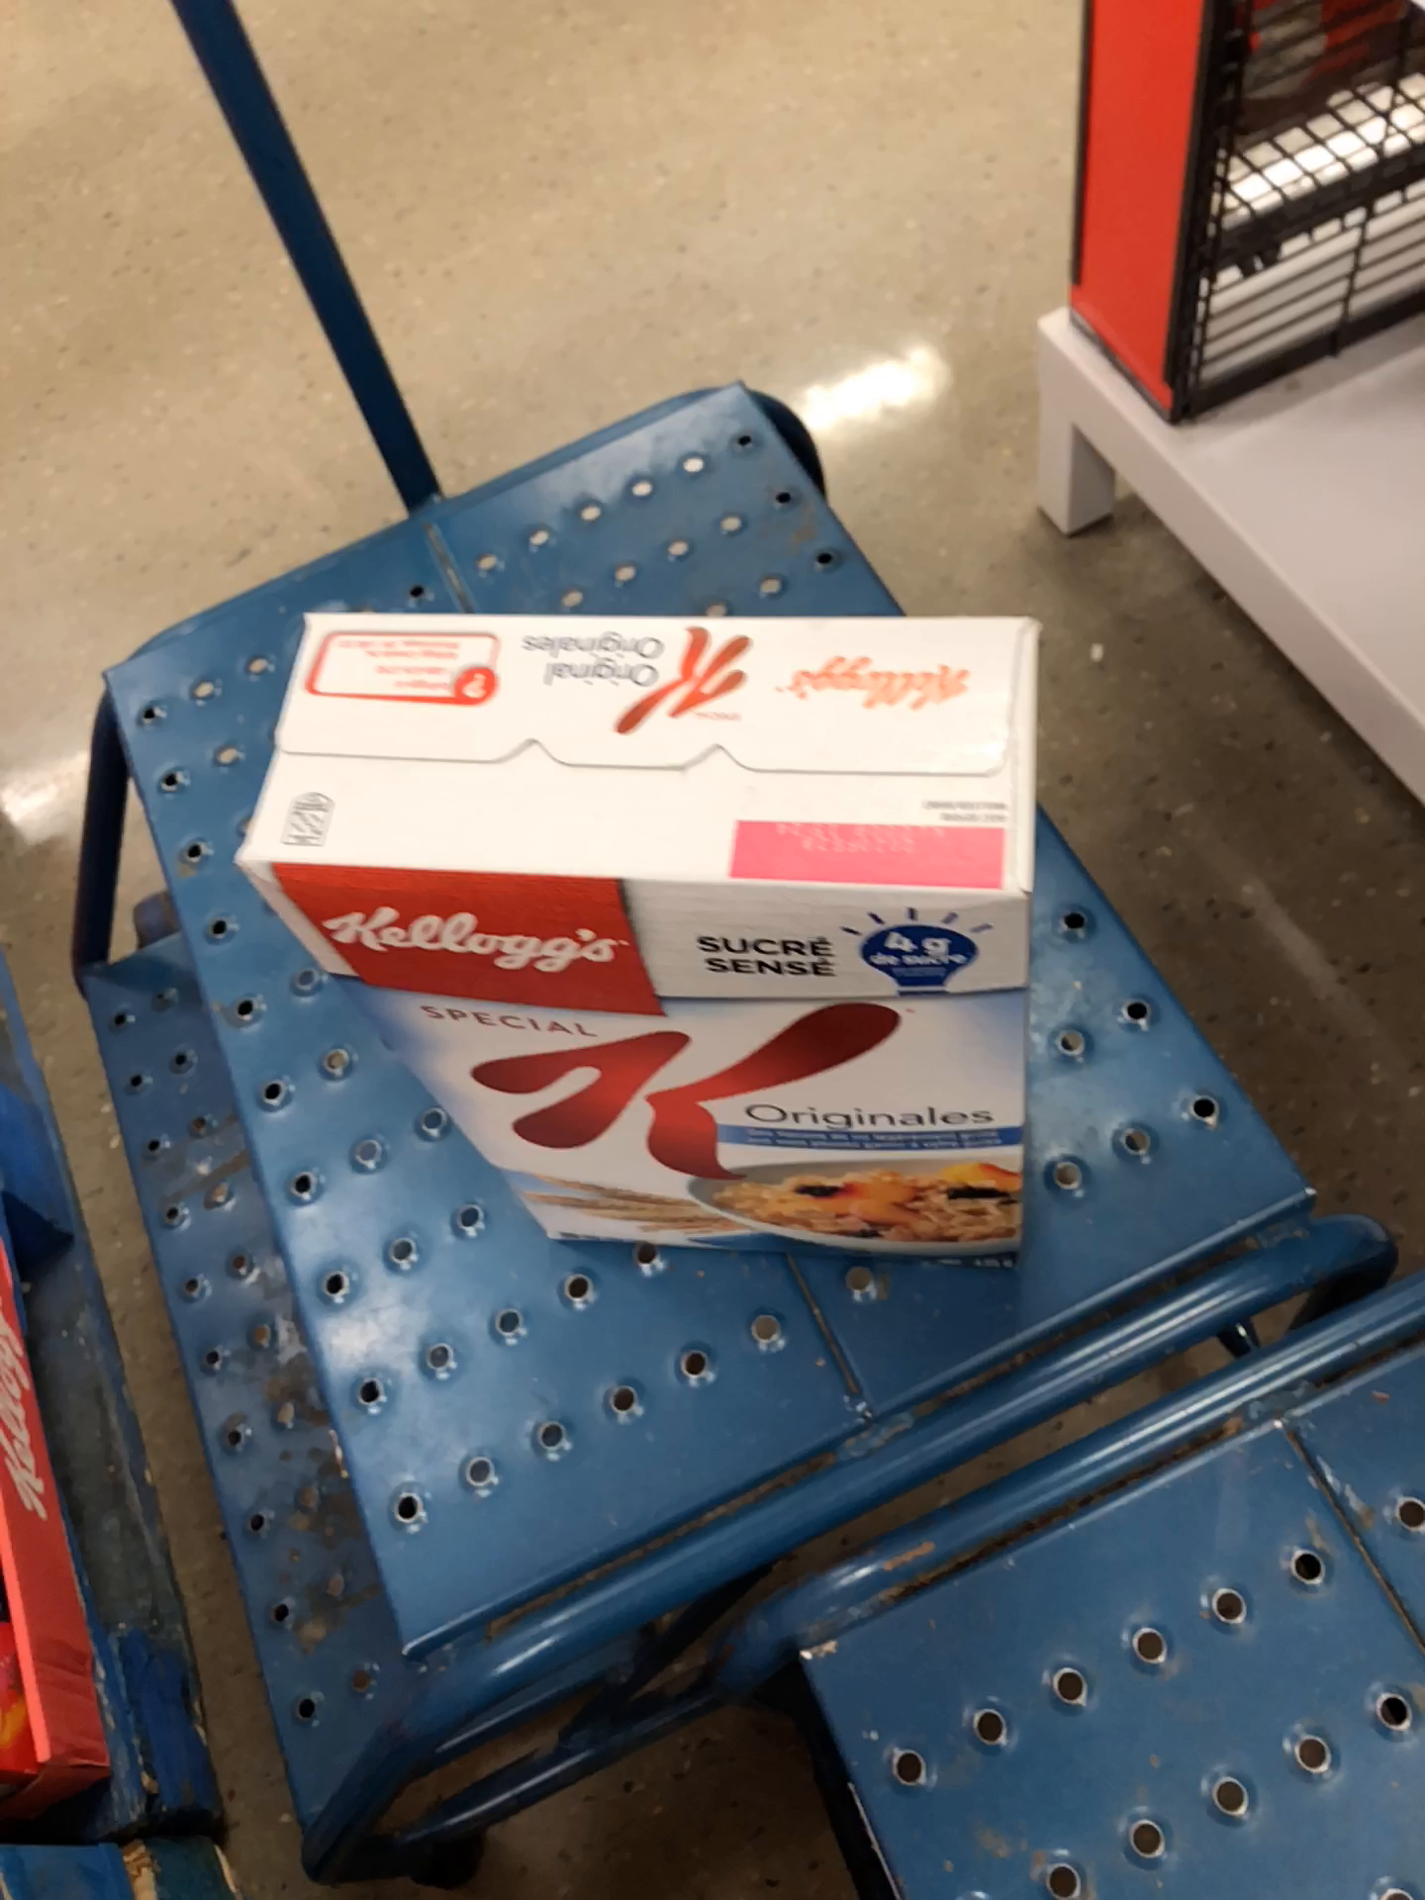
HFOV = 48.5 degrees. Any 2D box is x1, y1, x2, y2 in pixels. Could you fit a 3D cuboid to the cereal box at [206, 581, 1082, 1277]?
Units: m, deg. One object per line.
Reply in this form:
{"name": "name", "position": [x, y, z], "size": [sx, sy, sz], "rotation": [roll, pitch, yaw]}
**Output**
{"name": "cereal box", "position": [0.008, 0.015, 0.516], "size": [0.210, 0.299, 0.080], "rotation": [2, 62, 12]}
